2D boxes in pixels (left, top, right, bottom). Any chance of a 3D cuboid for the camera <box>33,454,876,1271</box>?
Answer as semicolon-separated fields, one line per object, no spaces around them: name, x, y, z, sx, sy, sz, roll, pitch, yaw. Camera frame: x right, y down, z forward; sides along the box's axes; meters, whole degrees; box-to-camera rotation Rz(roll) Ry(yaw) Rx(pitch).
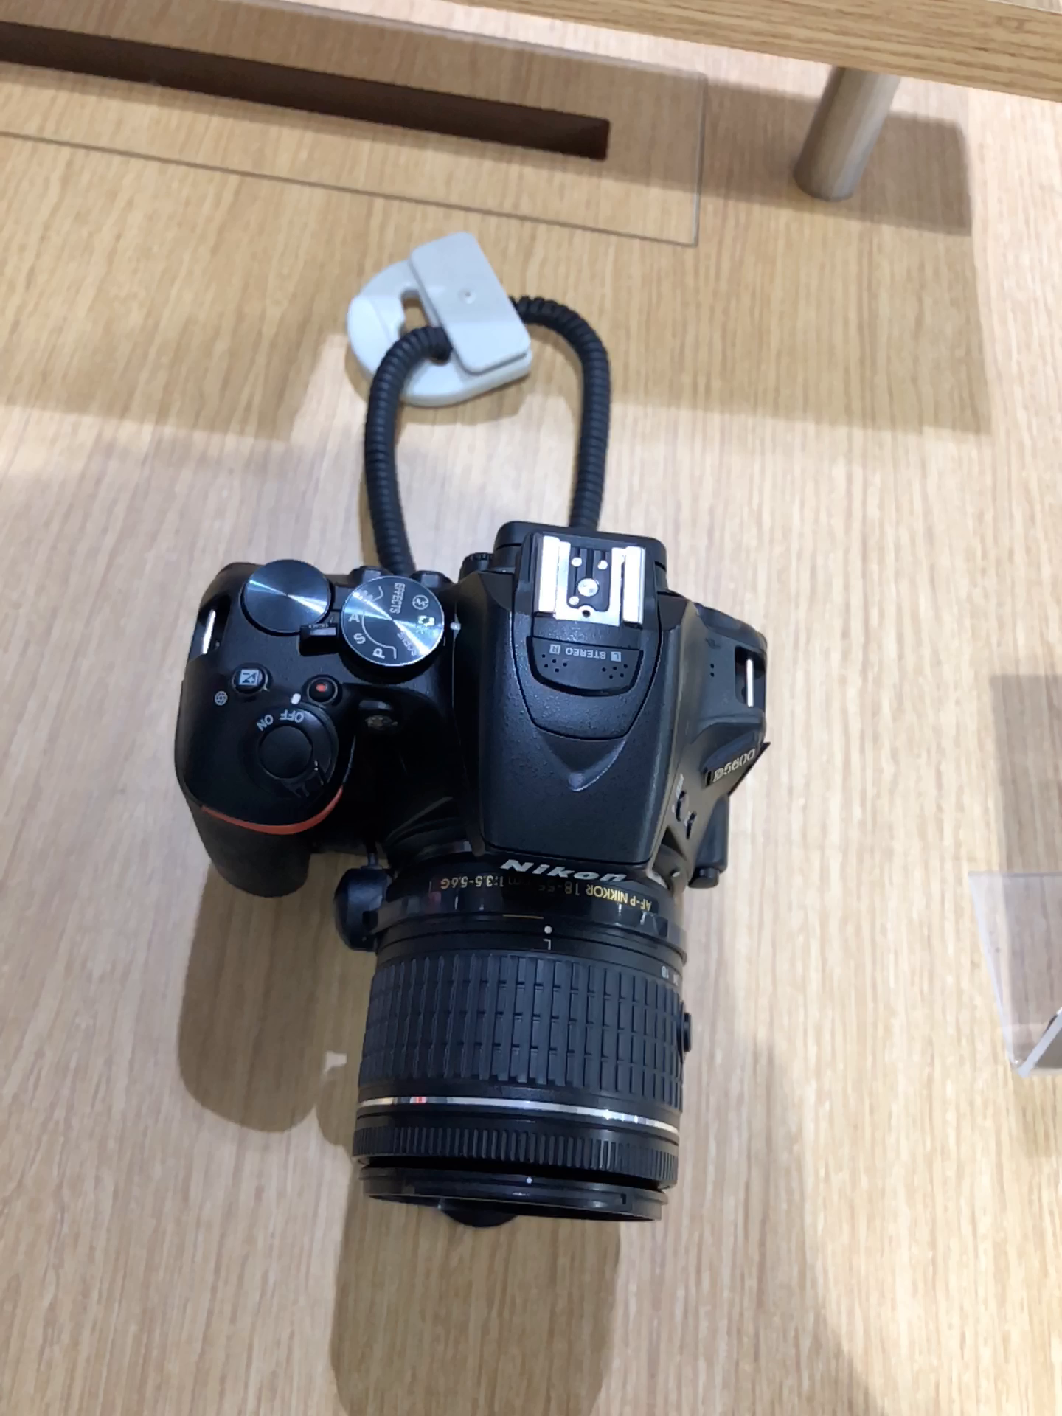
camera;-0.009;0.032;0.229;0.120;0.070;0.130;6;63;-4
